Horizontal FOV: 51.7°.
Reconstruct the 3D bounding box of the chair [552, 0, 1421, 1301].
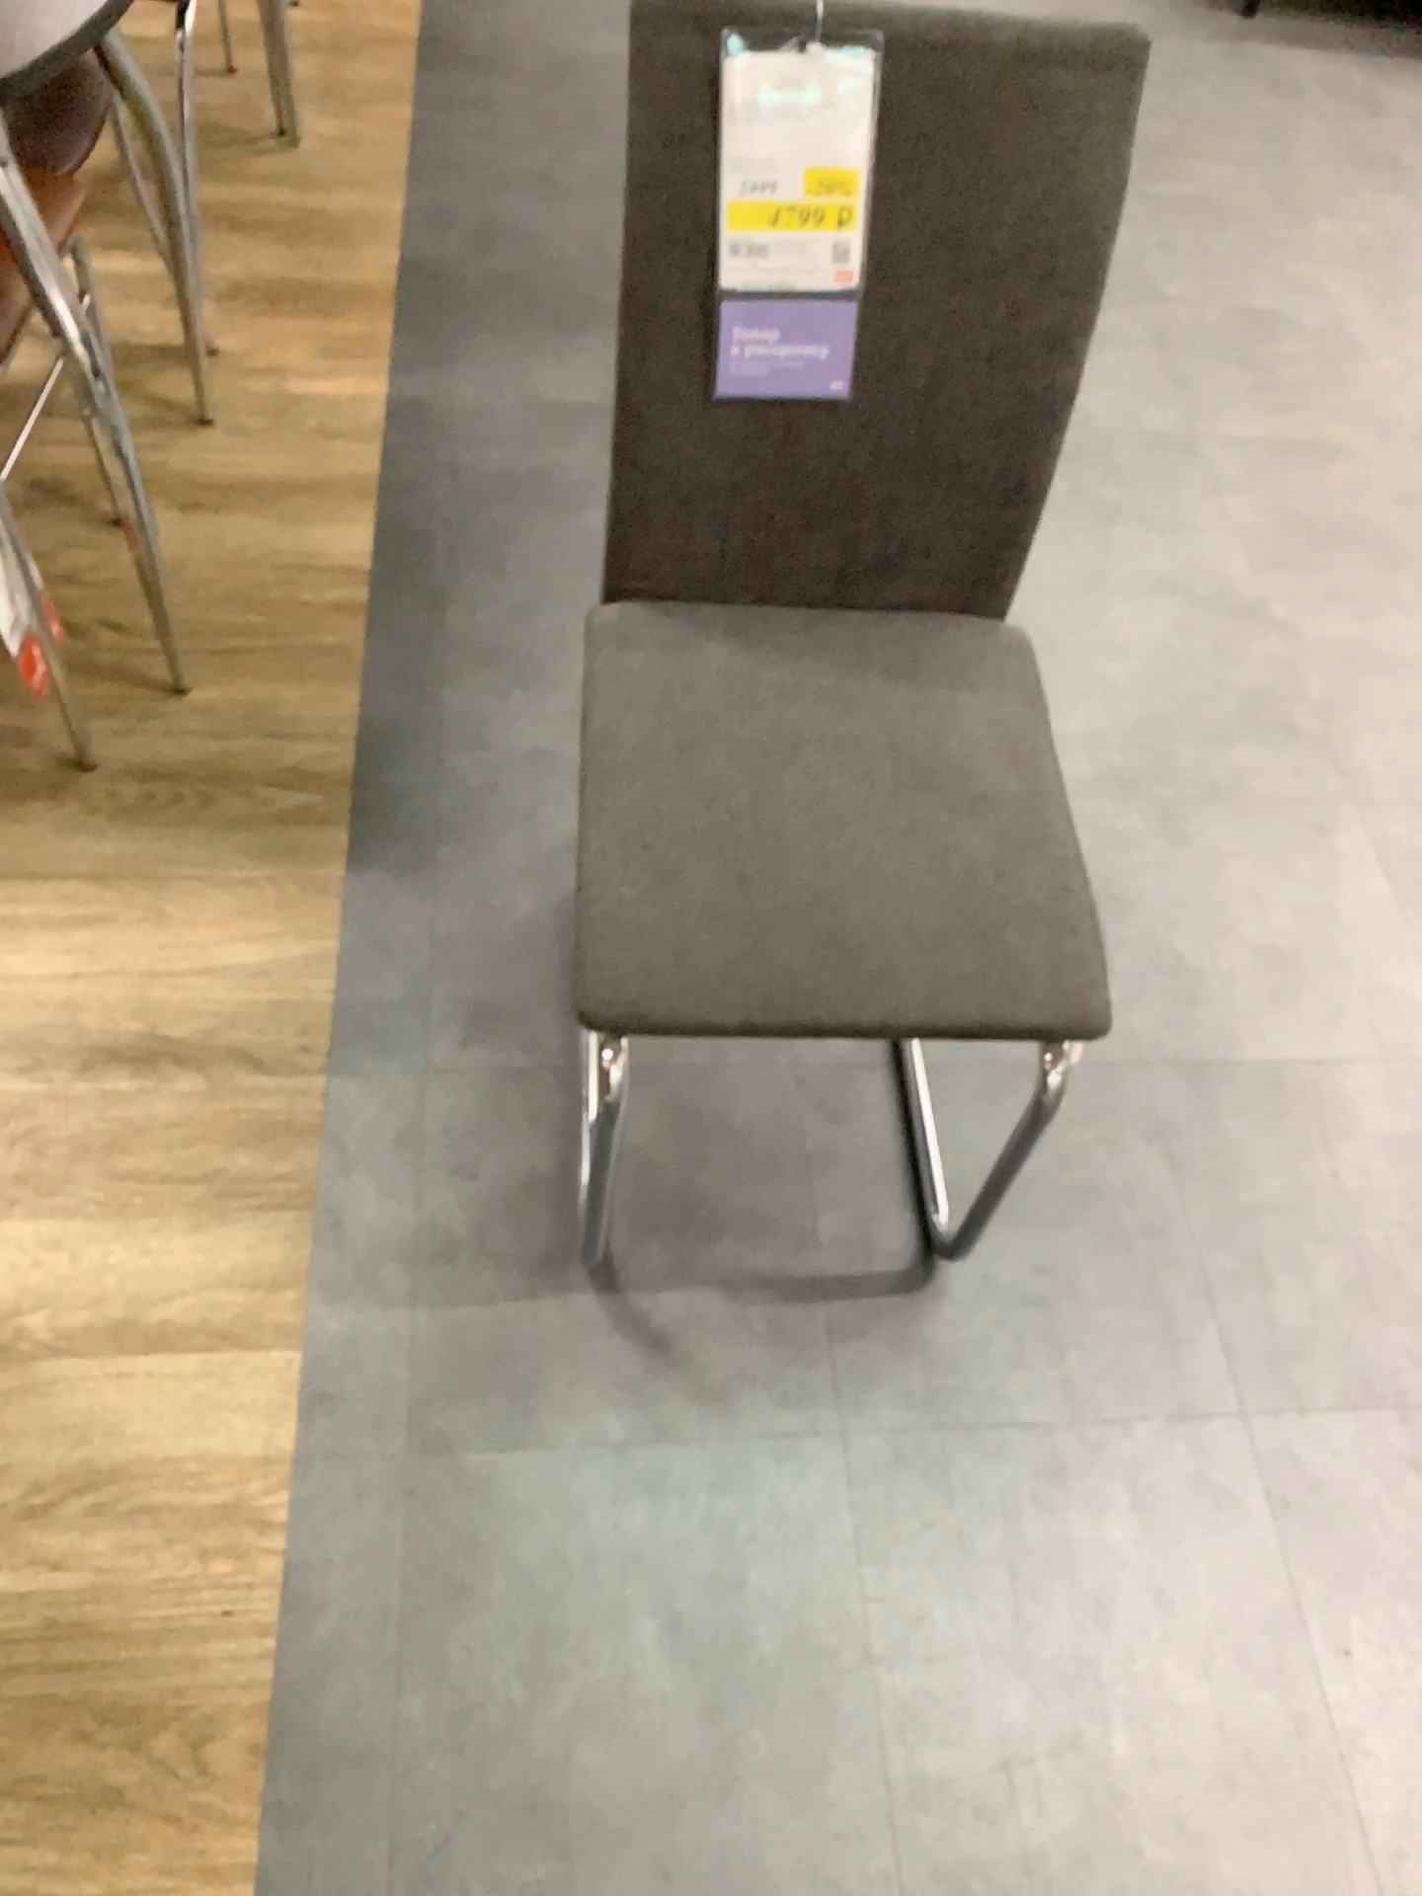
[{"bbox_3d":[0.096,-0.153,1.250,0.435,0.975,0.541,1,54,-7],"label":"chair"}]
